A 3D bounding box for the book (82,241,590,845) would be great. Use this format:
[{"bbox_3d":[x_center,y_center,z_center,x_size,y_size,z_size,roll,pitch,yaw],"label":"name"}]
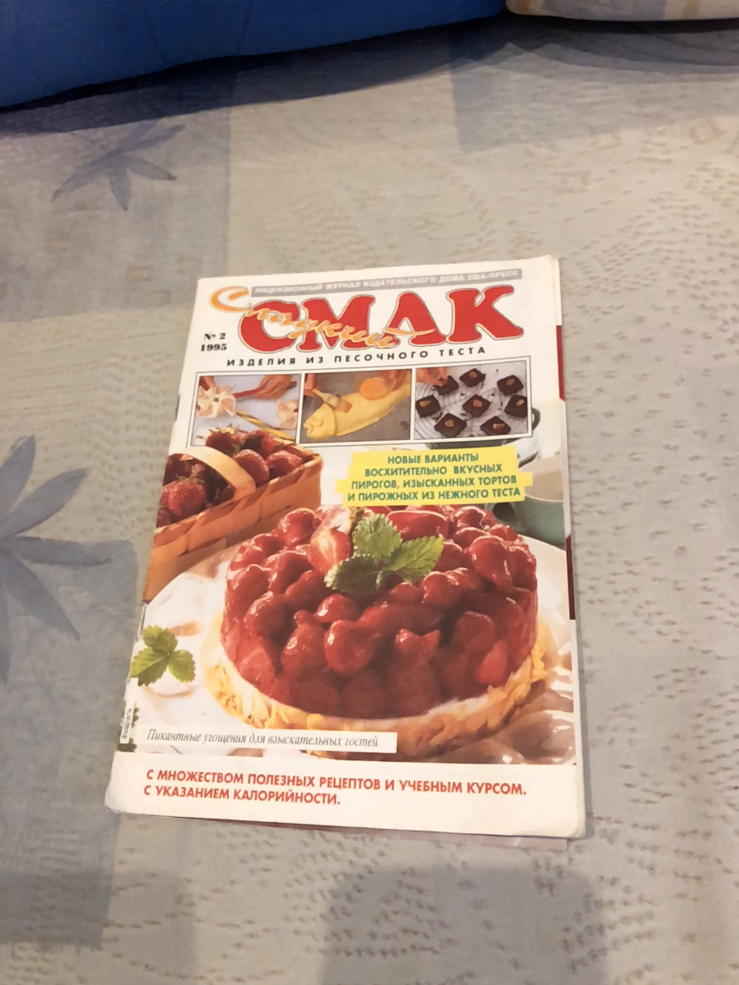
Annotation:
[{"bbox_3d":[-0.008,0.007,0.333,0.177,0.020,0.241,-1,67,11],"label":"book"}]
